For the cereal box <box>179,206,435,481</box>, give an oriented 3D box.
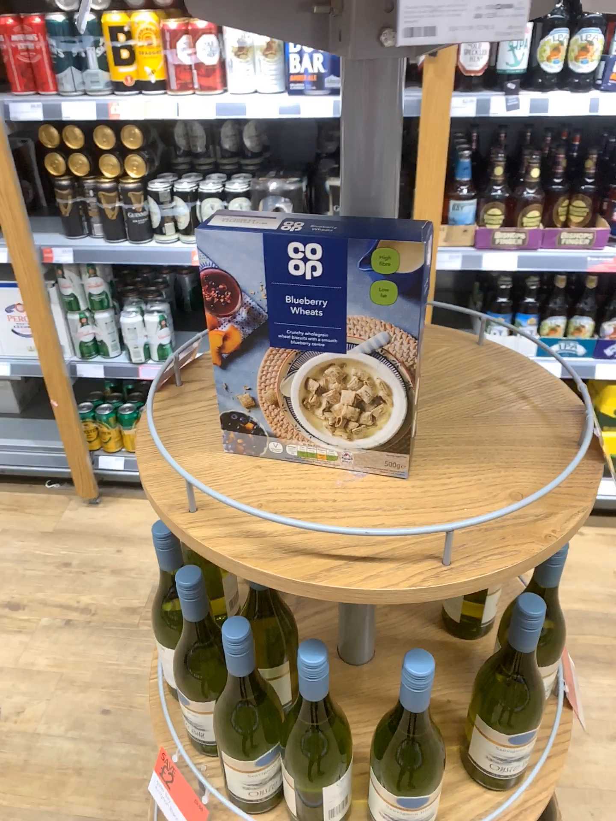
[{"bbox_3d":[0.002,-0.058,0.576,0.200,0.228,0.061,7,33,13],"label":"cereal box"}]
